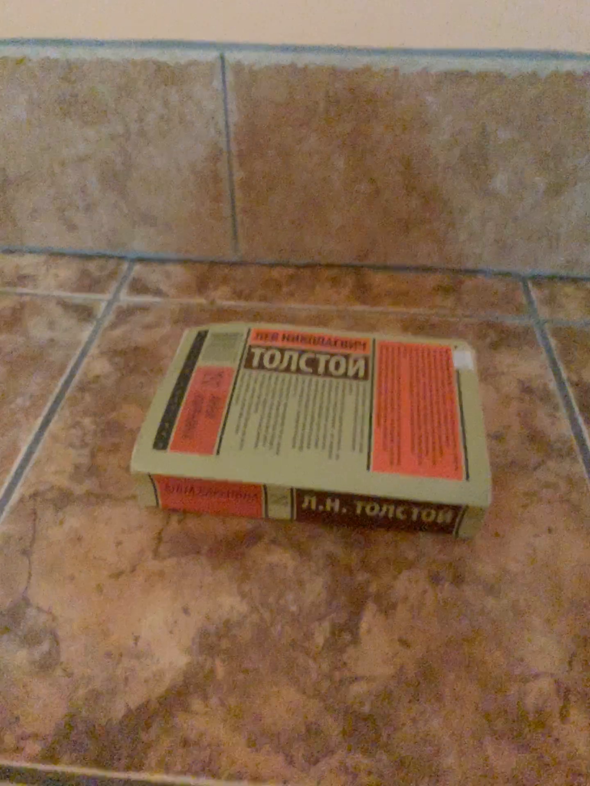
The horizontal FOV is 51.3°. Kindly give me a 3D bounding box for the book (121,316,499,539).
[{"bbox_3d":[0.011,0.013,0.358,0.185,0.044,0.120,4,43,4],"label":"book"}]
